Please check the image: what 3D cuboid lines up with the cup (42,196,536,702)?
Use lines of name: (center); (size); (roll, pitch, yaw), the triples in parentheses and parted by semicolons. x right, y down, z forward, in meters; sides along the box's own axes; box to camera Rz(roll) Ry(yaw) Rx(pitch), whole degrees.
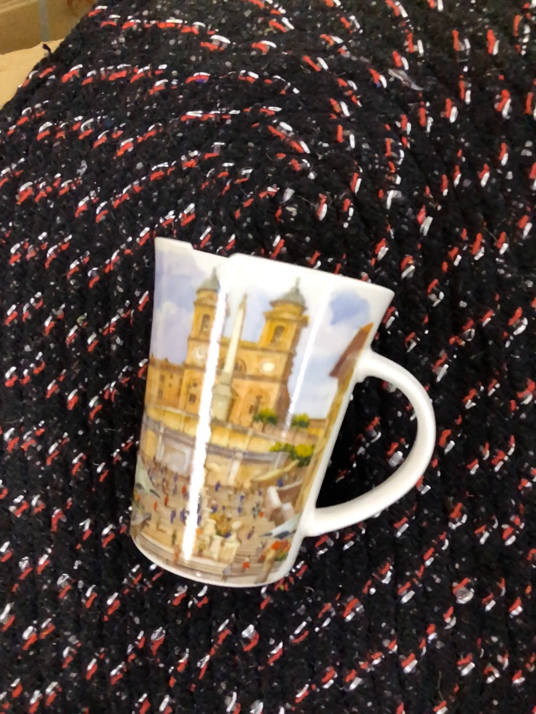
cup: (0.007, 0.021, 0.199); (0.110, 0.090, 0.110); (0, 94, 4)
